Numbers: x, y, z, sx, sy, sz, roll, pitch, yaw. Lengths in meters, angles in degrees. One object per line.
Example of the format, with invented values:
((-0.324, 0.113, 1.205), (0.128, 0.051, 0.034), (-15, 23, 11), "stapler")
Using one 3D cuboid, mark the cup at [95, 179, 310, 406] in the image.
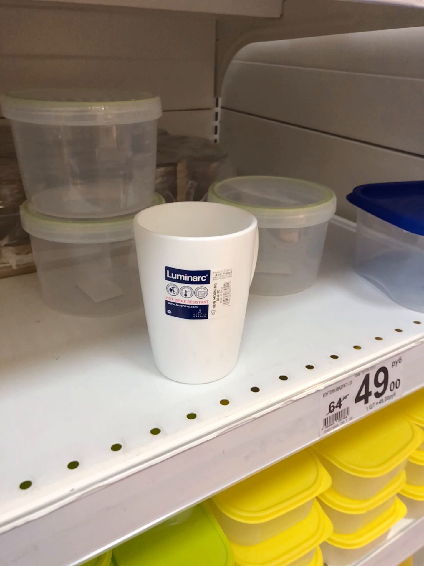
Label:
((-0.005, -0.002, 0.334), (0.121, 0.107, 0.079), (-23, 36, -39), "cup")
